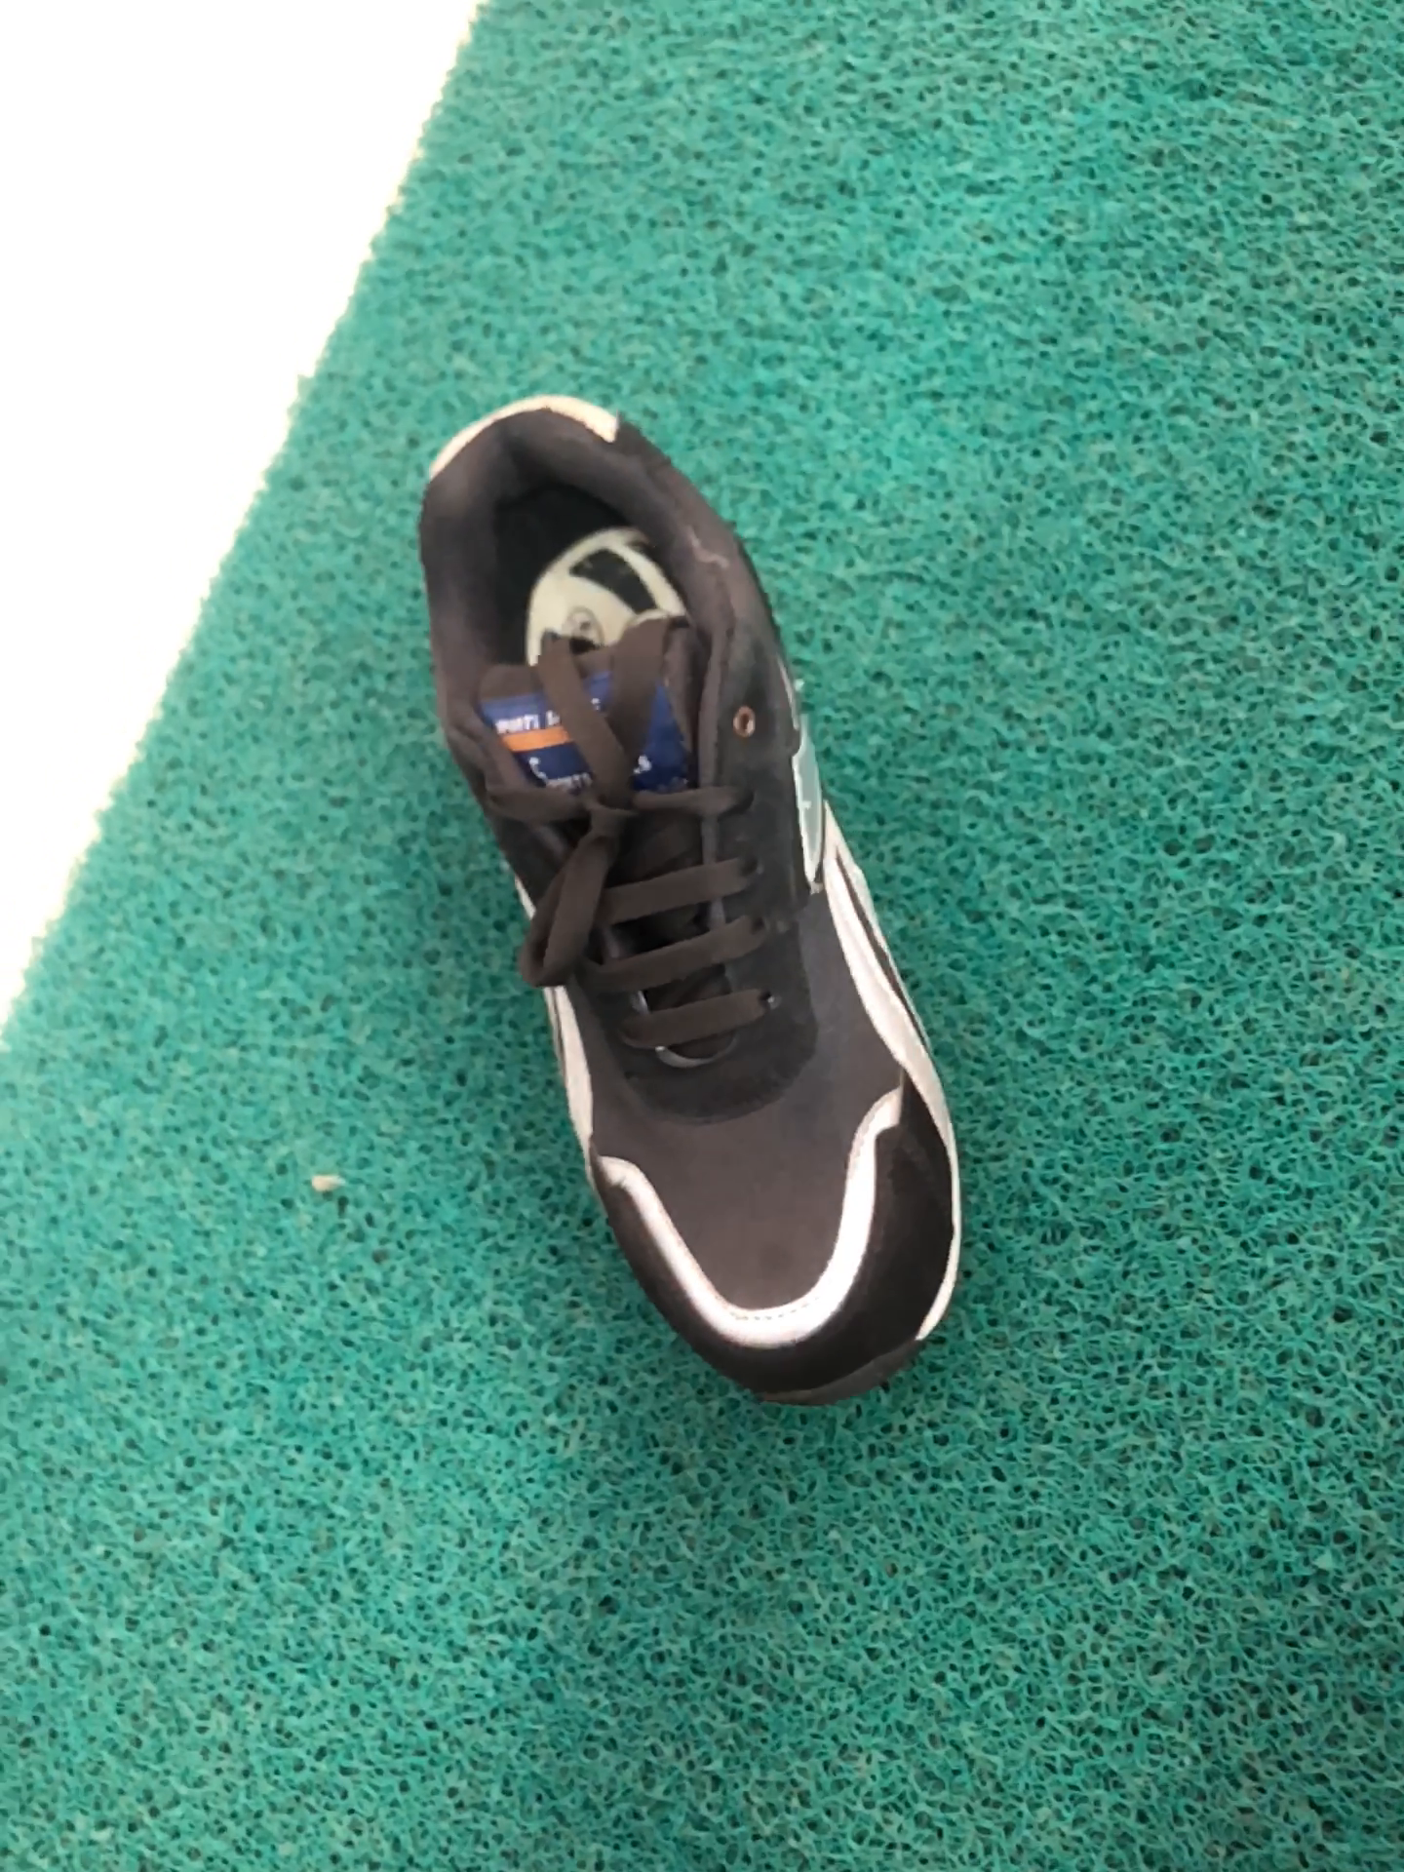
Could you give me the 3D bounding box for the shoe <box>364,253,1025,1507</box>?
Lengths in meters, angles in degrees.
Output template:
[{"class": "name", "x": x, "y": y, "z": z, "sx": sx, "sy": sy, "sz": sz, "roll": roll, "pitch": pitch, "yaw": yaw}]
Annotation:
[{"class": "shoe", "x": -0.002, "y": -0.013, "z": 0.422, "sx": 0.100, "sy": 0.110, "sz": 0.290, "roll": -15, "pitch": 74, "yaw": 15}]
